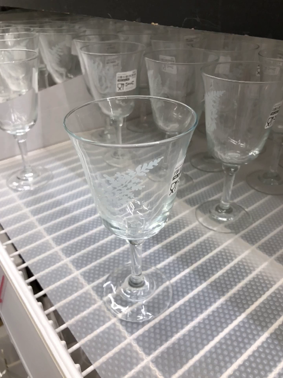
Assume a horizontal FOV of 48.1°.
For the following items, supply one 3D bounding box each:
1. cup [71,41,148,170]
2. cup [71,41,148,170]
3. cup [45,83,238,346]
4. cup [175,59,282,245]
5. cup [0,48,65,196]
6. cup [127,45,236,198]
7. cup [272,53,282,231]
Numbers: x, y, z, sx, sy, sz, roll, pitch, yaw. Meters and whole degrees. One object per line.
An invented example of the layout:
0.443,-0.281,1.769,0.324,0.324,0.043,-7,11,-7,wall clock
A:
-0.037,-0.111,0.423,0.069,0.146,0.066,0,32,0,cup
-0.037,-0.111,0.423,0.069,0.146,0.066,0,32,0,cup
-0.003,0.015,0.241,0.086,0.156,0.090,0,32,0,cup
0.101,-0.041,0.332,0.089,0.155,0.087,0,32,0,cup
-0.141,-0.079,0.383,0.069,0.156,0.067,0,32,0,cup
0.044,-0.083,0.378,0.080,0.146,0.086,0,32,0,cup
0.208,-0.051,0.313,0.086,0.136,0.090,0,32,0,cup
